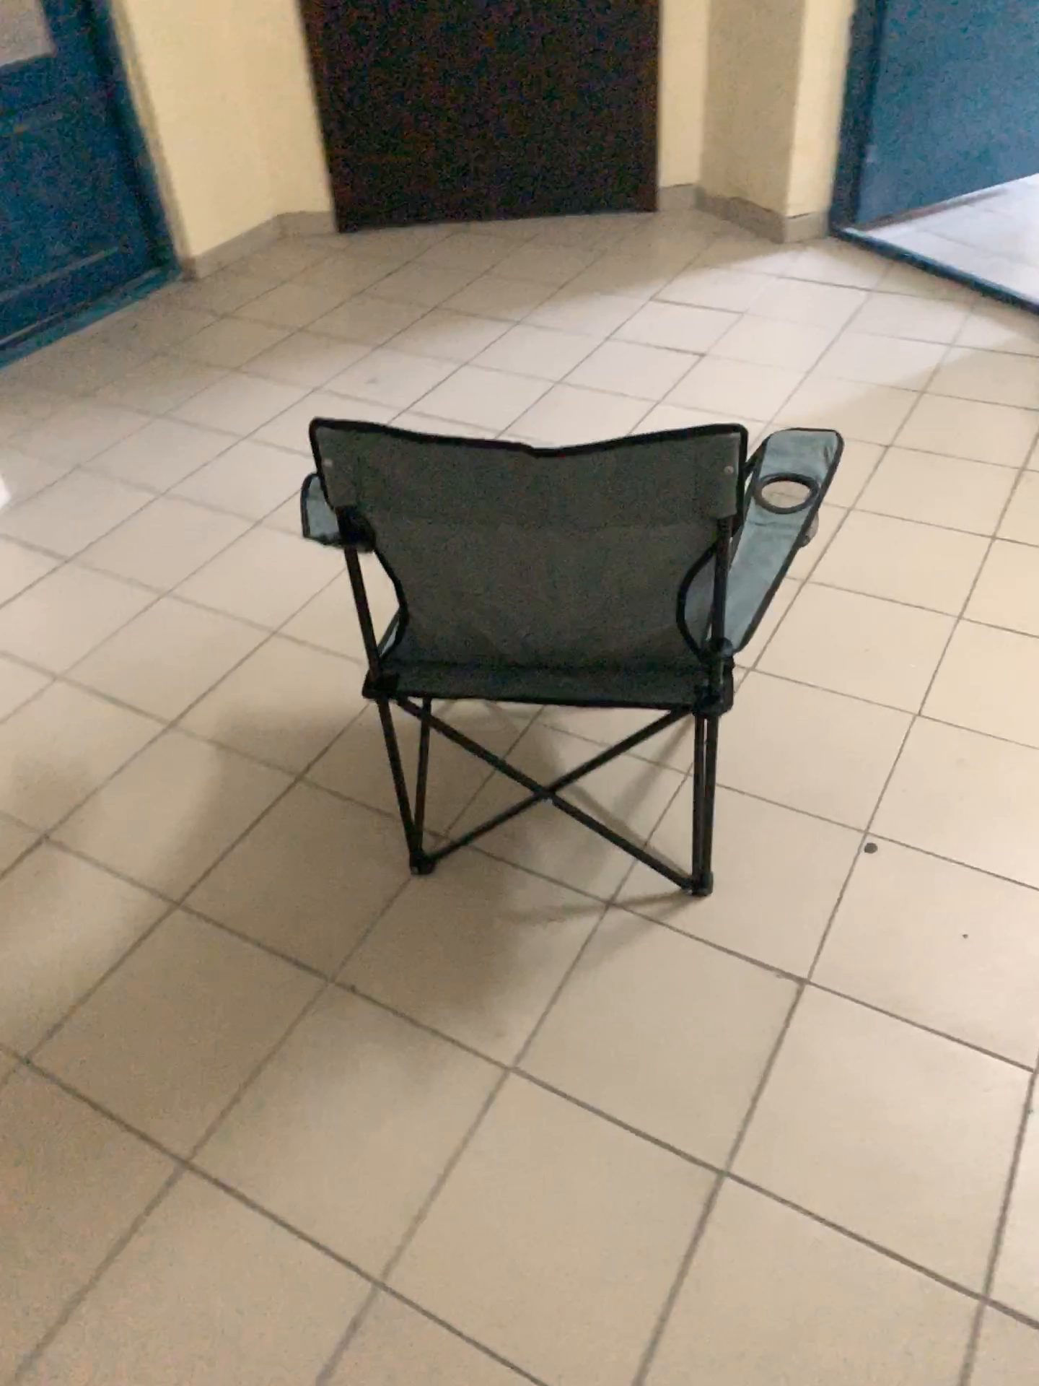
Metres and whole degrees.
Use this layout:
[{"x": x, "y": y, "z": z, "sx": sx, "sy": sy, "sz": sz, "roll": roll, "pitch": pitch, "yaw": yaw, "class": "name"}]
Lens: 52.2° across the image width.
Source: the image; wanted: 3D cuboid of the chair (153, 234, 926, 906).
[{"x": 0.056, "y": -0.172, "z": 1.547, "sx": 0.800, "sy": 0.756, "sz": 0.563, "roll": 2, "pitch": 42, "yaw": 7, "class": "chair"}]
